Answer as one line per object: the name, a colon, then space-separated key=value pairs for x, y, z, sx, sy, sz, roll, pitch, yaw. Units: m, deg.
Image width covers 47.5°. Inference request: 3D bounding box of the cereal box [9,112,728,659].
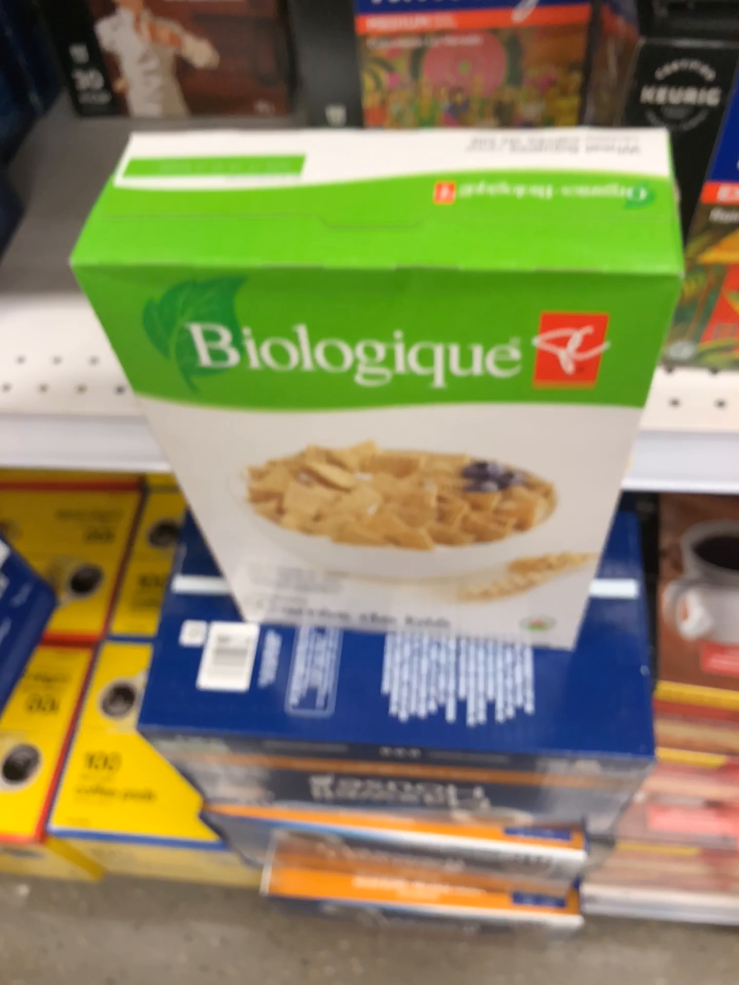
cereal box: x=0.011 y=-0.020 z=0.382 sx=0.210 sy=0.289 sz=0.070 roll=4 pitch=59 yaw=9
